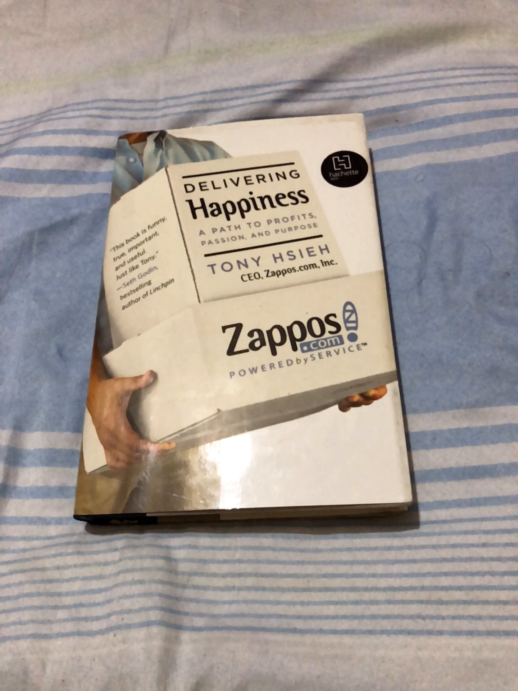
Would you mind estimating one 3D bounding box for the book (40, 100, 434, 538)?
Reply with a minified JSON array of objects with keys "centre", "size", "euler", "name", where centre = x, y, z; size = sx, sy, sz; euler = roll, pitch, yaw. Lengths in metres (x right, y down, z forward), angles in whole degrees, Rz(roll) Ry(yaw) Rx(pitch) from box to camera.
[{"centre":[-0.011,-0.024,0.323],"size":[0.170,0.050,0.240],"euler":[-3,64,5],"name":"book"}]
